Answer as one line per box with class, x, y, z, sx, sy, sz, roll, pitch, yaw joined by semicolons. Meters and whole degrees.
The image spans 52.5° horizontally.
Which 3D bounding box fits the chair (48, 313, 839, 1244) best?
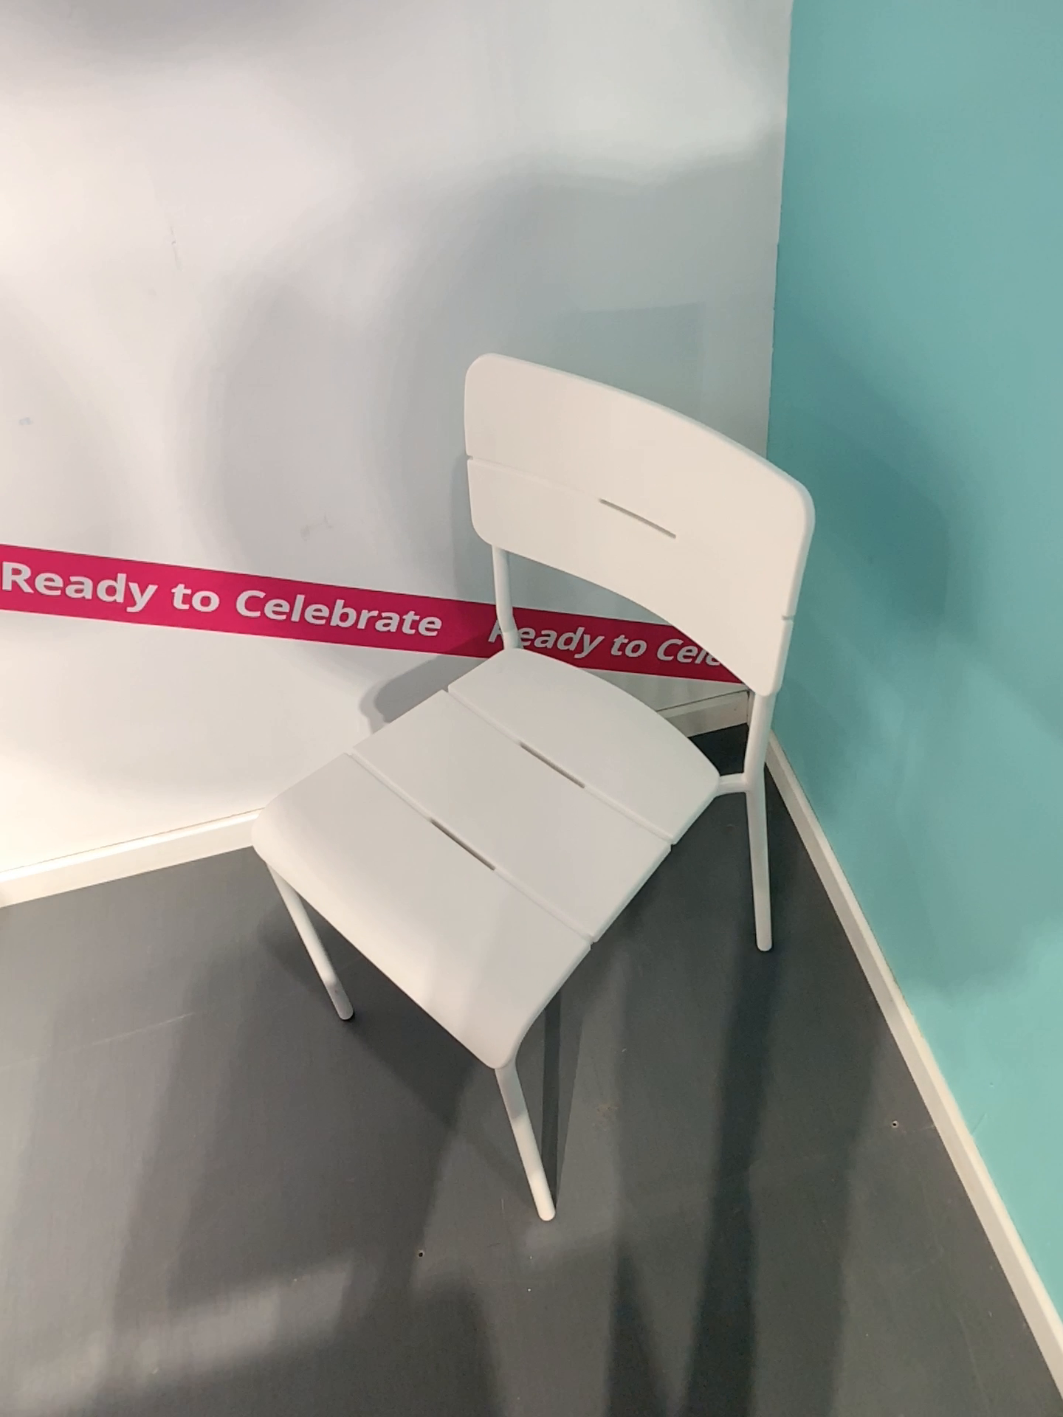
chair;-0.028;0.116;1.140;0.431;0.807;0.450;33;61;31
